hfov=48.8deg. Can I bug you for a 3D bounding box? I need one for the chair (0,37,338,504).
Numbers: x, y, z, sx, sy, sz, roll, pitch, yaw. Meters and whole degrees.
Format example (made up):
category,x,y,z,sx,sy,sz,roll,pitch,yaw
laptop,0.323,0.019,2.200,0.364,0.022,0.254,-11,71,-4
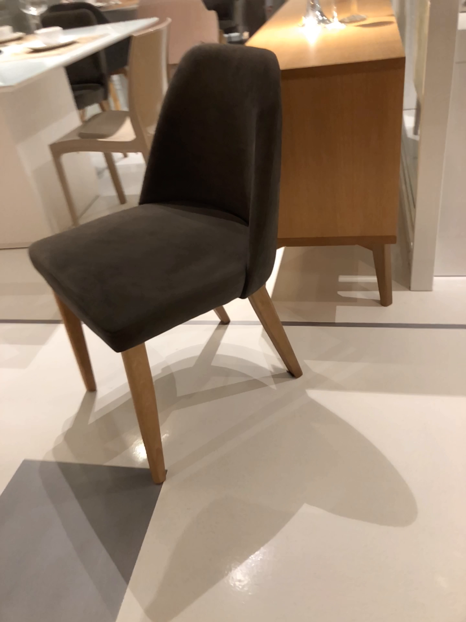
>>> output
category,x,y,z,sx,sy,sz,roll,pitch,yaw
chair,-0.165,-0.134,1.178,0.561,0.774,0.533,-28,38,-24
